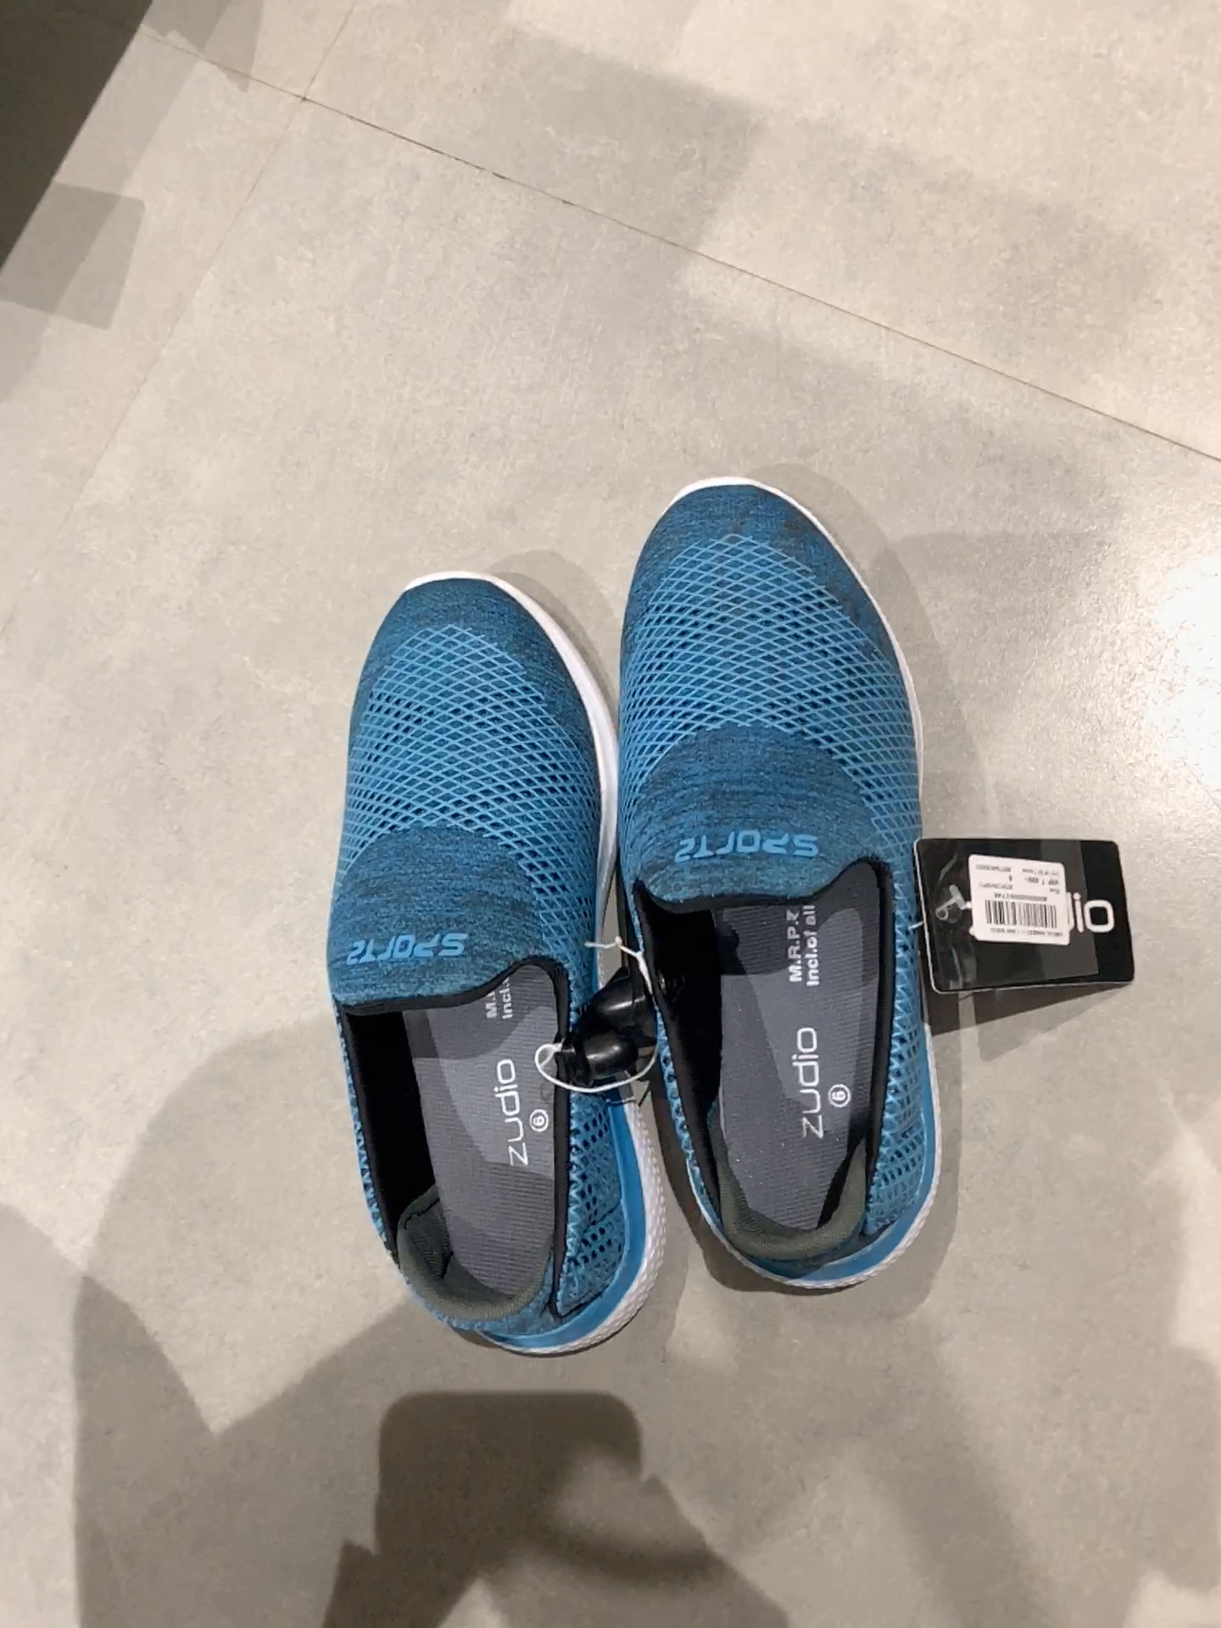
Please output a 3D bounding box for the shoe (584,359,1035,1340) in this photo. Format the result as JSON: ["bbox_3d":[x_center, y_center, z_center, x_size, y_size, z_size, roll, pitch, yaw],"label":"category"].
[{"bbox_3d":[0.057,0.011,0.367,0.090,0.080,0.250,-8,80,15],"label":"shoe"}]

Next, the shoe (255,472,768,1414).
[{"bbox_3d":[-0.032,0.039,0.405,0.110,0.080,0.260,-12,79,14],"label":"shoe"}]
